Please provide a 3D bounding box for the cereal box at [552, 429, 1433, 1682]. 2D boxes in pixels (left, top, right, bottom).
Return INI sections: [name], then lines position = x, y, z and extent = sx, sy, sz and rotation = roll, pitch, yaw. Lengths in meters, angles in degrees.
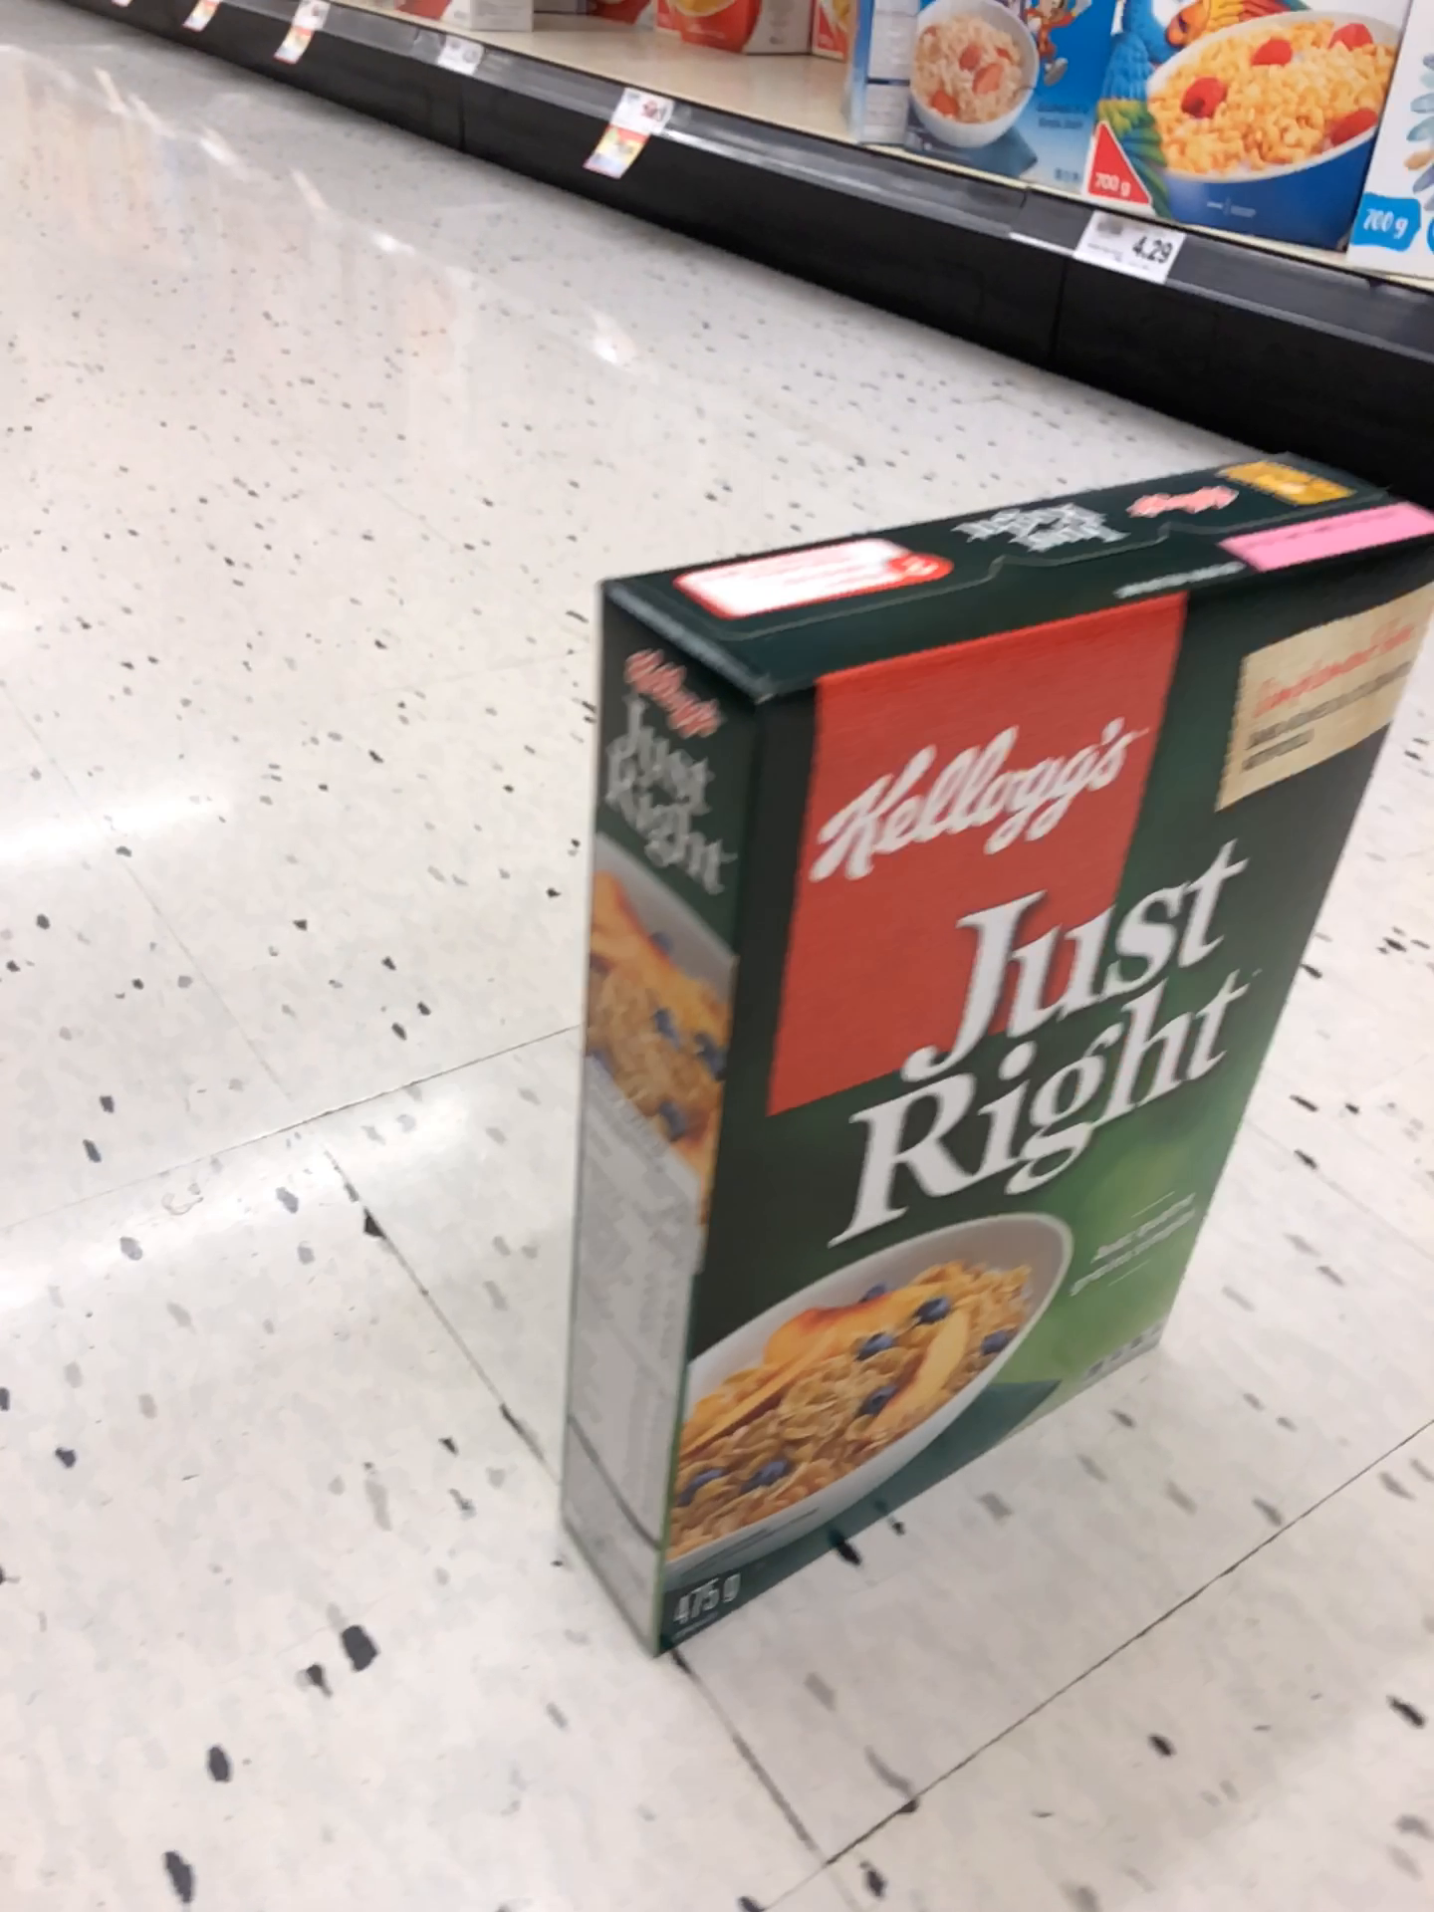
[cereal box]
position = 0.068, 0.027, 0.380
extent = 0.211, 0.268, 0.050
rotation = -18, 42, -30
